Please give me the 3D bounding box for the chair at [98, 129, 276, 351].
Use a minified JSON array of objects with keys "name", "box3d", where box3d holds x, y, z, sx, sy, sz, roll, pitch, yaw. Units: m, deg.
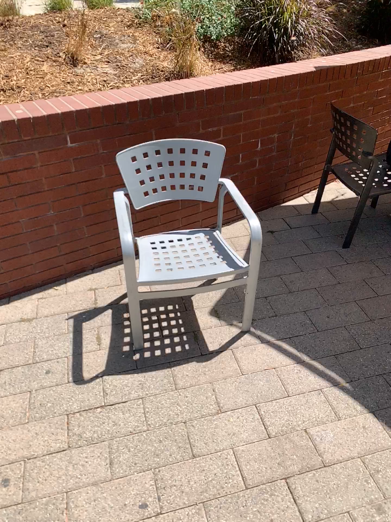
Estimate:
[{"name":"chair","box3d":[-0.063,-0.102,1.705,0.558,0.718,0.492,-9,36,-12]}]
